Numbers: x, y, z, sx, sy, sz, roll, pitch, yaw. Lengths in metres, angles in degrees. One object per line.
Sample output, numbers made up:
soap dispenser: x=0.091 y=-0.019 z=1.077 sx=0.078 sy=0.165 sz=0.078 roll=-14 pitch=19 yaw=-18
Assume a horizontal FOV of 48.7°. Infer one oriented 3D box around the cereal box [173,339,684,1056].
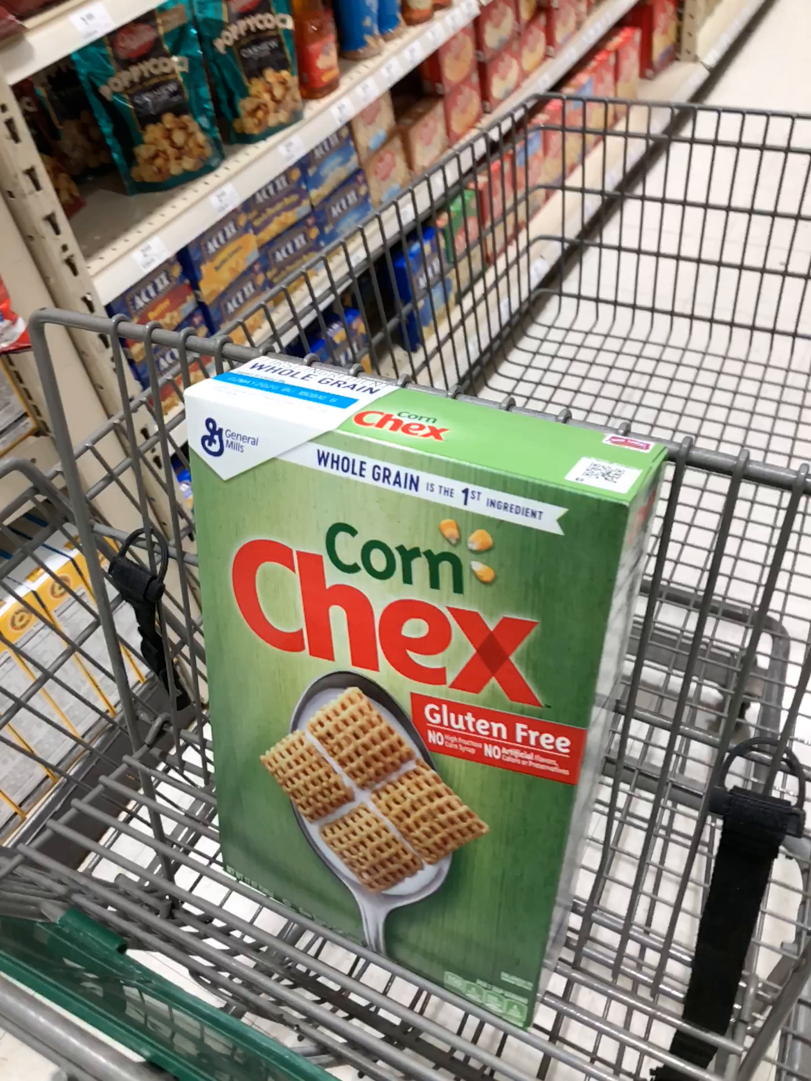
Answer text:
cereal box: x=-0.003 y=0.080 z=0.433 sx=0.200 sy=0.310 sz=0.060 roll=17 pitch=32 yaw=24
